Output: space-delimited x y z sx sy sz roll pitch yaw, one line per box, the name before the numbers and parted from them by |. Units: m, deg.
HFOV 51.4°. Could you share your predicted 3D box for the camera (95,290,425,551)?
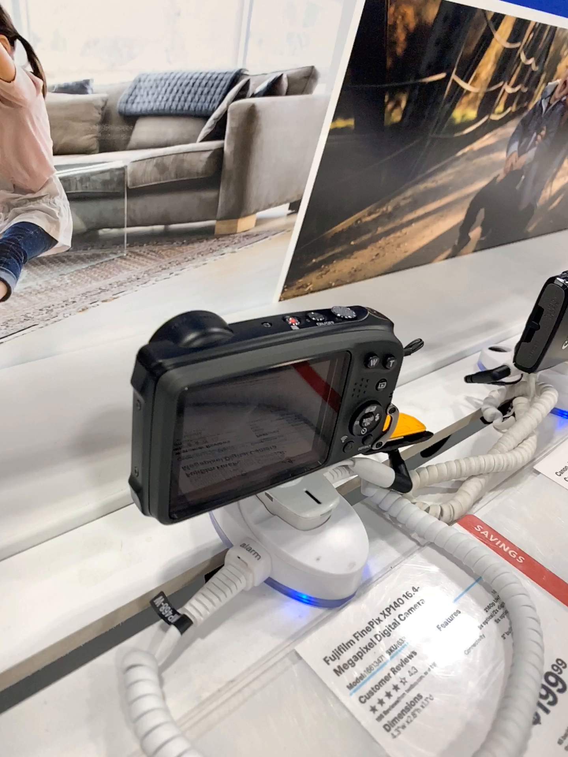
camera | -0.006 0.008 0.215 0.110 0.060 0.040 -13 37 -39
